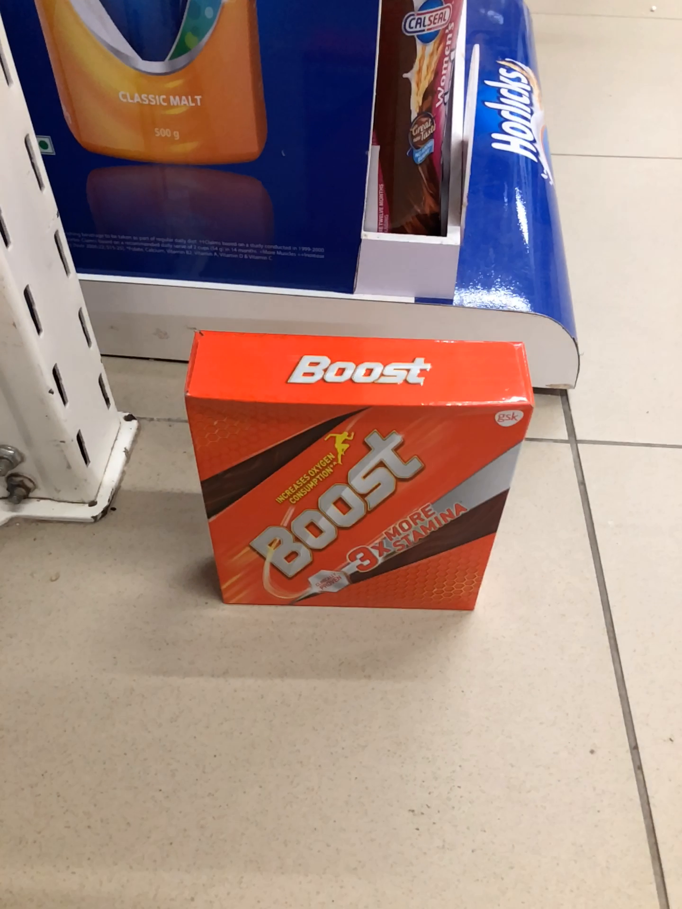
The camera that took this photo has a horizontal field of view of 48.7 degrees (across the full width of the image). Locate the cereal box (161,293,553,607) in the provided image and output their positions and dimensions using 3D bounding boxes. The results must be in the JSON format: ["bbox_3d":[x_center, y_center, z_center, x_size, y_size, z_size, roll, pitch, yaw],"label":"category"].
[{"bbox_3d":[0.004,0.008,0.391,0.160,0.179,0.050,2,48,-2],"label":"cereal box"}]
